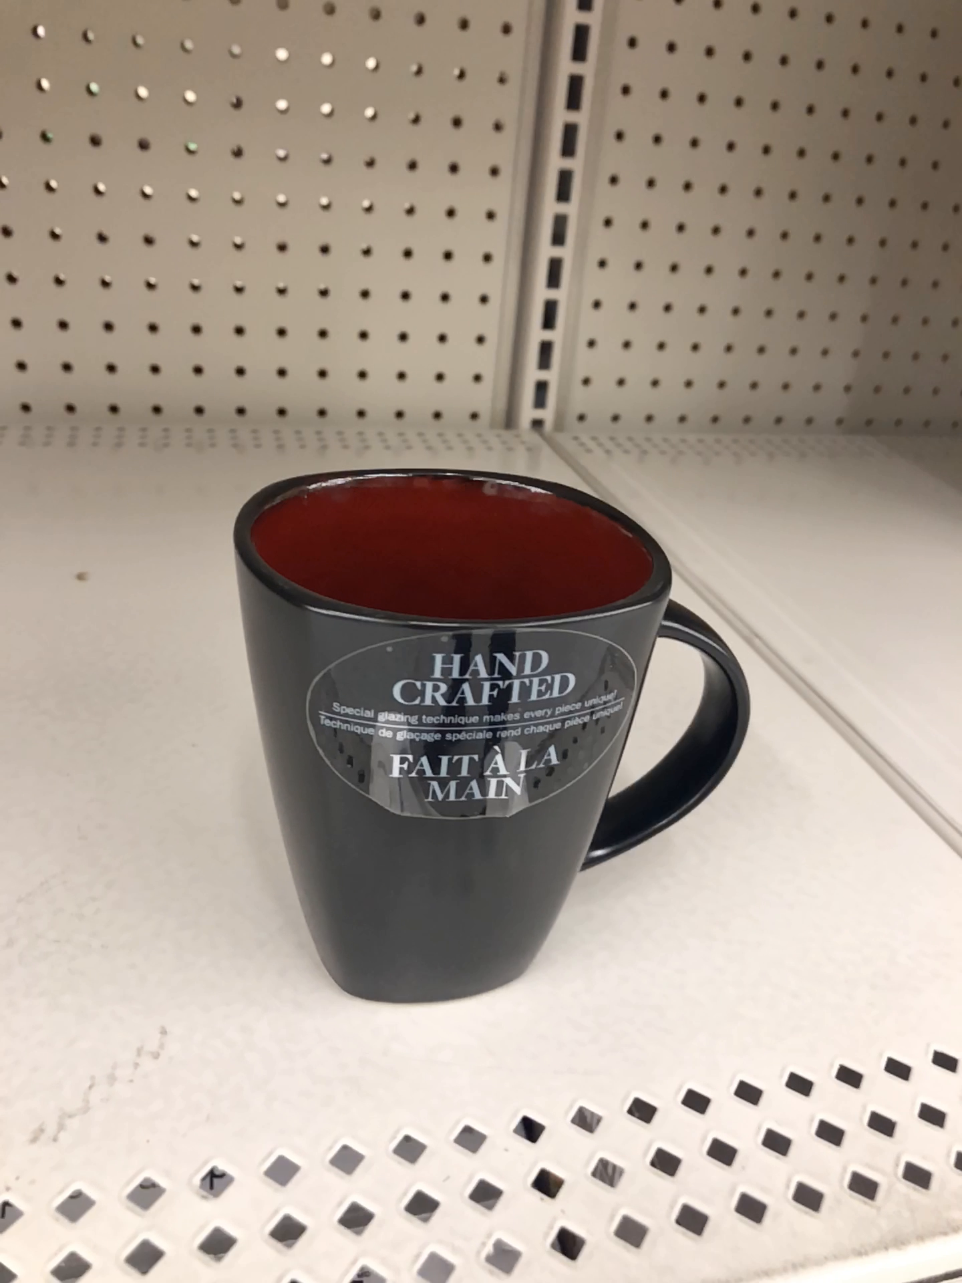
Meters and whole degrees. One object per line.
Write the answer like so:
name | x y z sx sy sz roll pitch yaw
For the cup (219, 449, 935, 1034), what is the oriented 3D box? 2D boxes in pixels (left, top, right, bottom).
cup | 0.011 0.014 0.273 0.143 0.099 0.100 -3 28 -16
